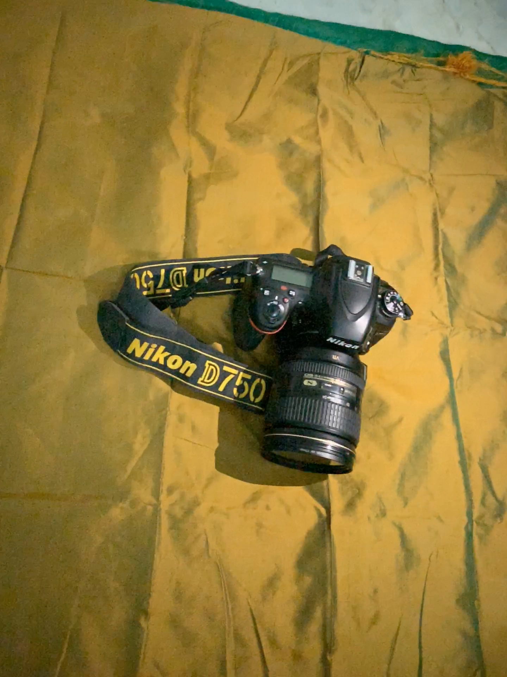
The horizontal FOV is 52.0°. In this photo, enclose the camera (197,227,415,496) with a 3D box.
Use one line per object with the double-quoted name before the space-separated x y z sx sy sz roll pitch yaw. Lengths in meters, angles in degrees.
"camera" 0.047 0.026 0.461 0.150 0.101 0.190 12 68 -9
